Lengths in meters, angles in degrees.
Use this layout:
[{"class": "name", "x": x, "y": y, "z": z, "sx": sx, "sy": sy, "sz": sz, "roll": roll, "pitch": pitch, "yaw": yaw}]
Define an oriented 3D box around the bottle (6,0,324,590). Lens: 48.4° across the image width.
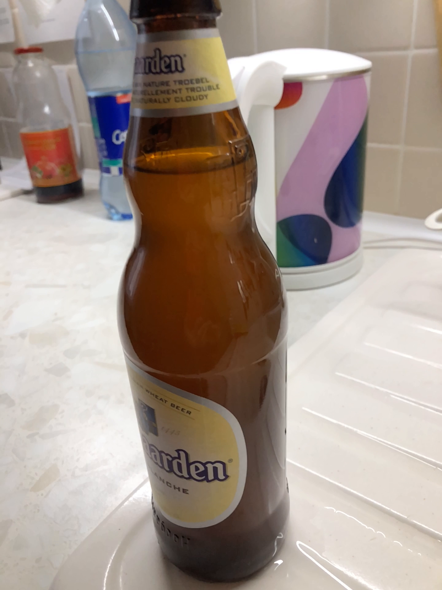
[{"class": "bottle", "x": -0.011, "y": 0.008, "z": 0.184, "sx": 0.060, "sy": 0.231, "sz": 0.070, "roll": -20, "pitch": 31, "yaw": -28}]
